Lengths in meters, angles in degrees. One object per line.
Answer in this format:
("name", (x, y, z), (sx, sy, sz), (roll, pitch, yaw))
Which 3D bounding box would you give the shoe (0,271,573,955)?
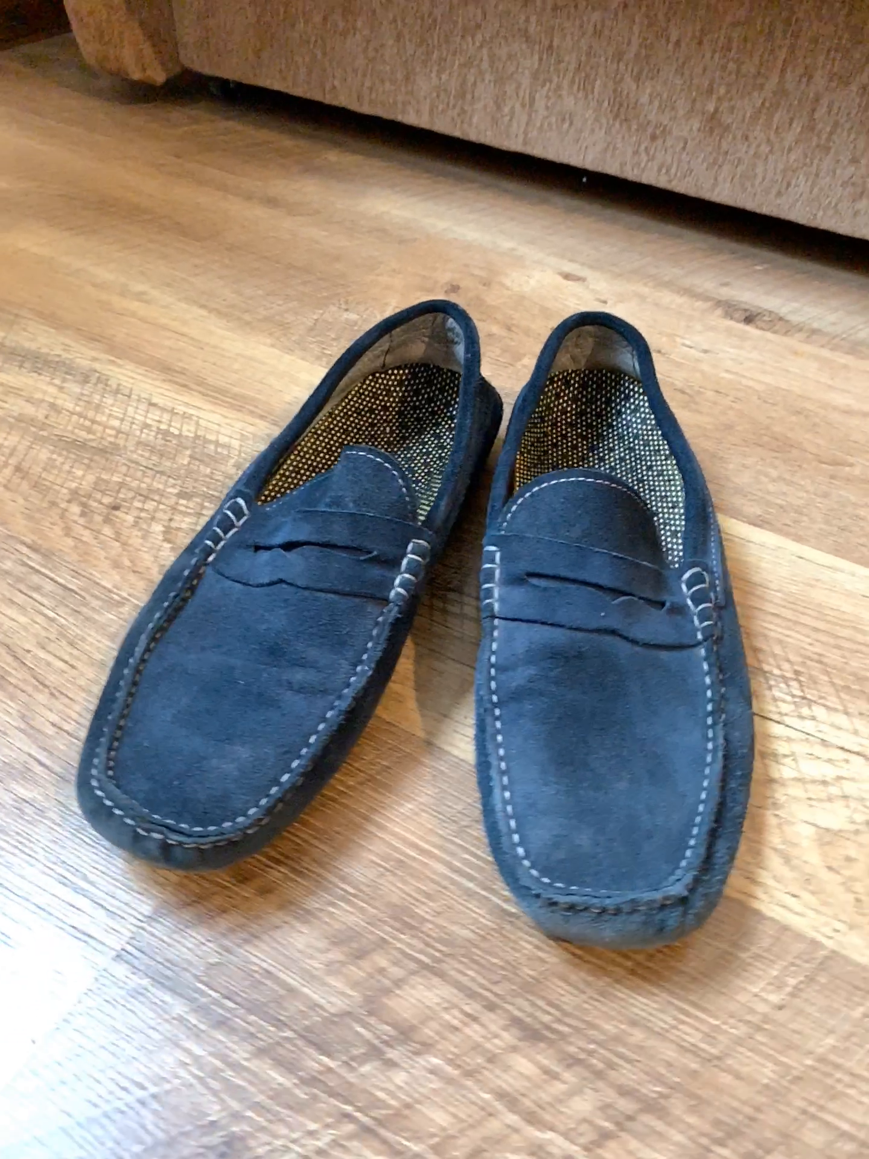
("shoe", (-0.033, -0.017, 0.340), (0.100, 0.070, 0.271), (16, 46, 12))

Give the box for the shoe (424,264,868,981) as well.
("shoe", (0.064, -0.016, 0.338), (0.110, 0.070, 0.291), (5, 45, 1))
